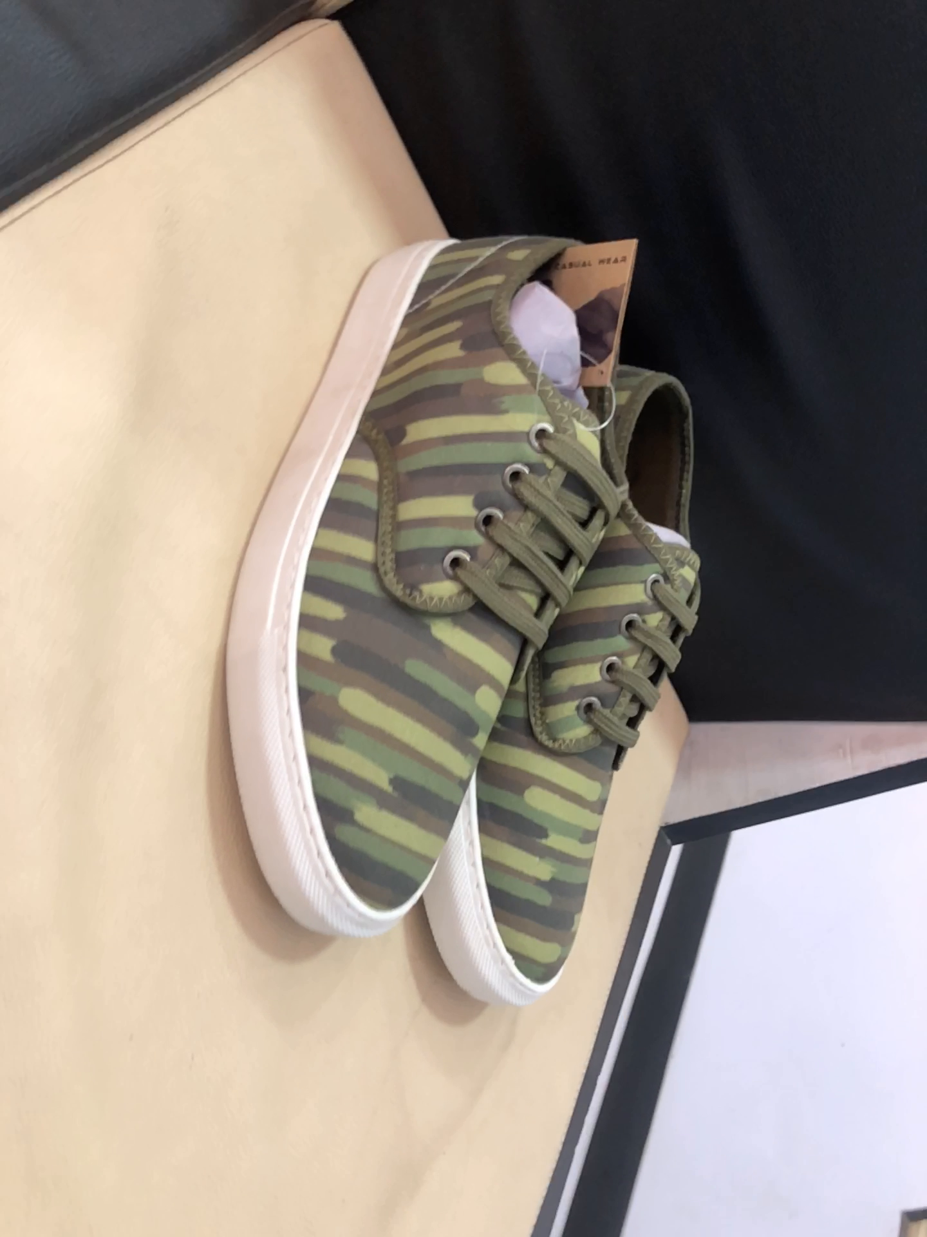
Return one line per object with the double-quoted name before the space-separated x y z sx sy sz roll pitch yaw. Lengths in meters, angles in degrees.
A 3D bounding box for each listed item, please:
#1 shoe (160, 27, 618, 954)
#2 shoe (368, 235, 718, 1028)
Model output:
"shoe" -0.014 -0.045 0.381 0.101 0.079 0.310 29 62 -50
"shoe" 0.045 0.005 0.445 0.101 0.079 0.310 29 62 -50
